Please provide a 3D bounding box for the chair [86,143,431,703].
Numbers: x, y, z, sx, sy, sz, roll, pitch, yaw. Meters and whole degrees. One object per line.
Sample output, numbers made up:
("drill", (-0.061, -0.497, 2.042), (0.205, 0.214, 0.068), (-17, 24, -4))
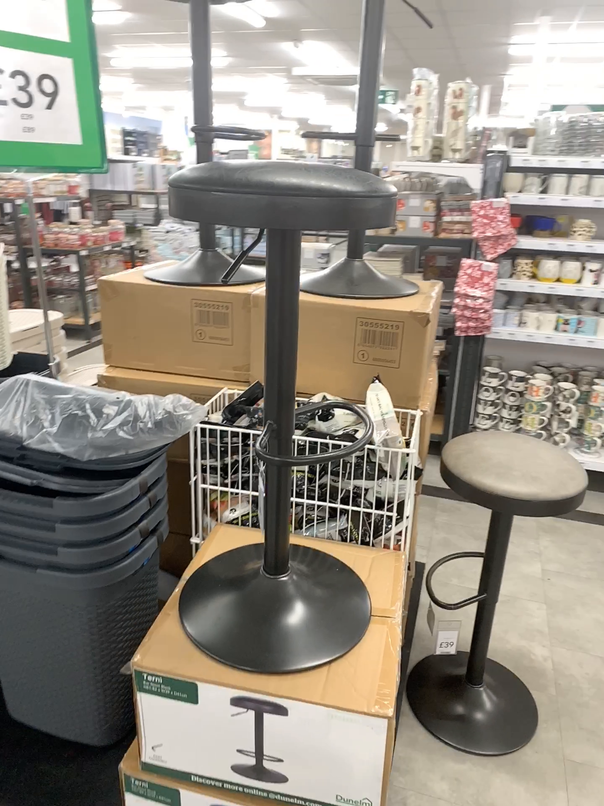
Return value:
("chair", (-0.042, 0.001, 1.054), (0.407, 0.795, 0.399), (7, 20, 14))
